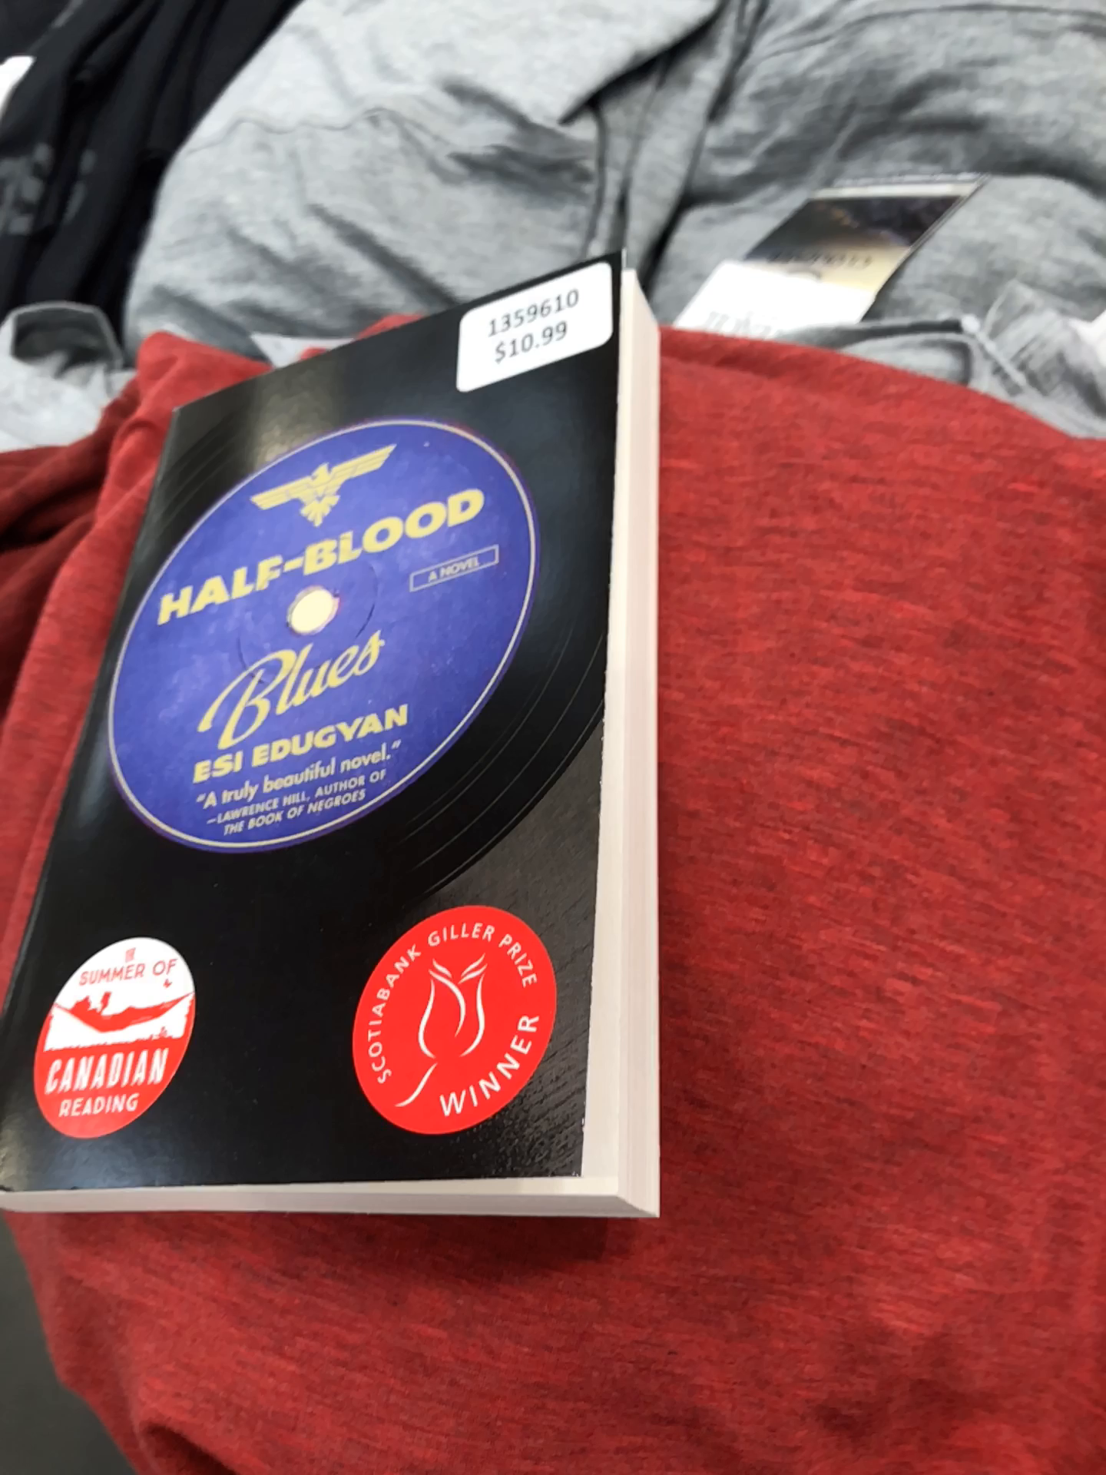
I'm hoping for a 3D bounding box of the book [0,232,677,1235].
[{"bbox_3d":[-0.050,-0.011,0.276,0.146,0.025,0.220,-7,57,21],"label":"book"}]
